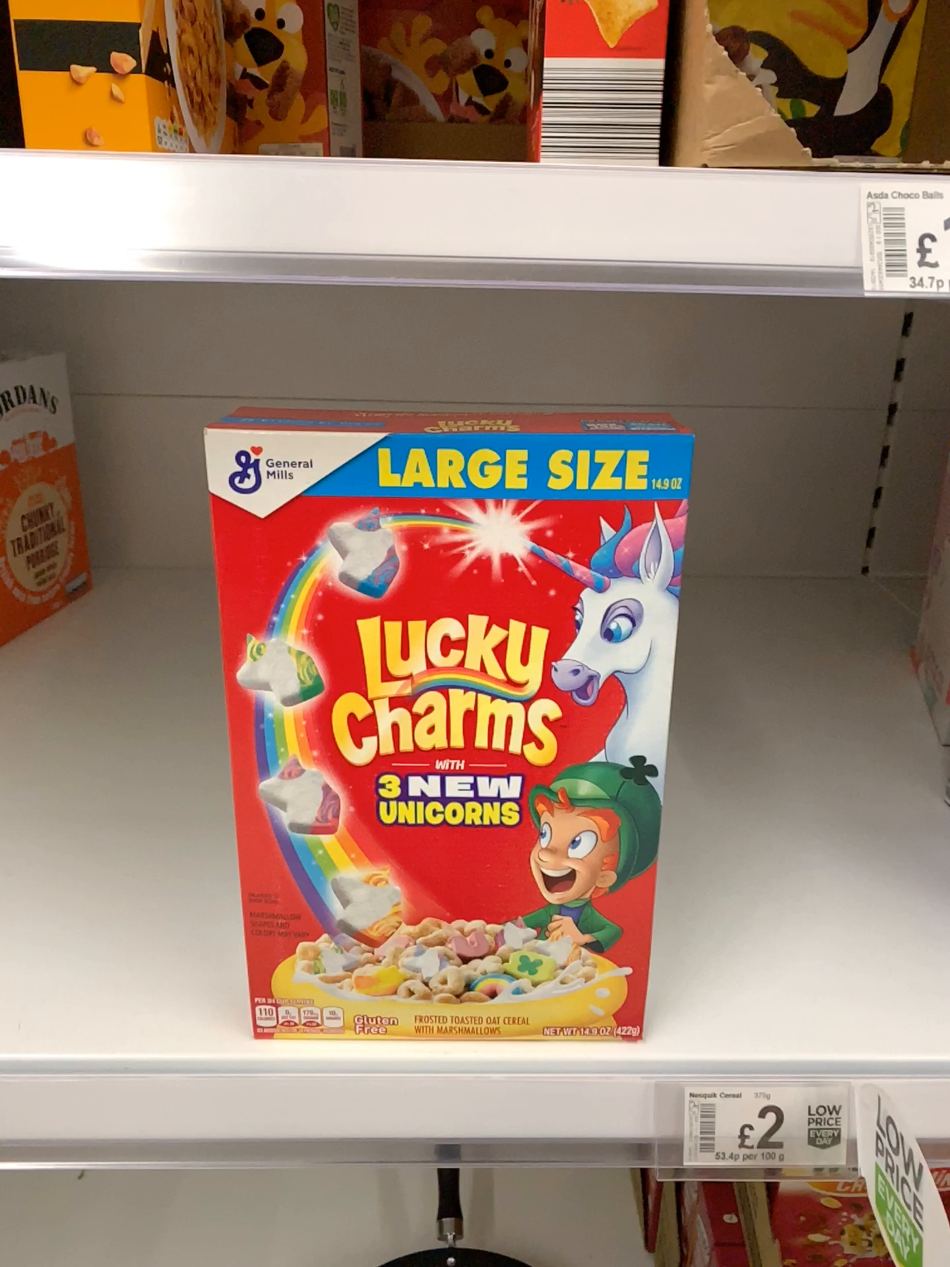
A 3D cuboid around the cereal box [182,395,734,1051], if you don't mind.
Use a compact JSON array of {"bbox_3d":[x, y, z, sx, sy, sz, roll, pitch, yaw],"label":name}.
[{"bbox_3d":[-0.010,0.048,0.454,0.210,0.298,0.070,1,19,-2],"label":"cereal box"}]
